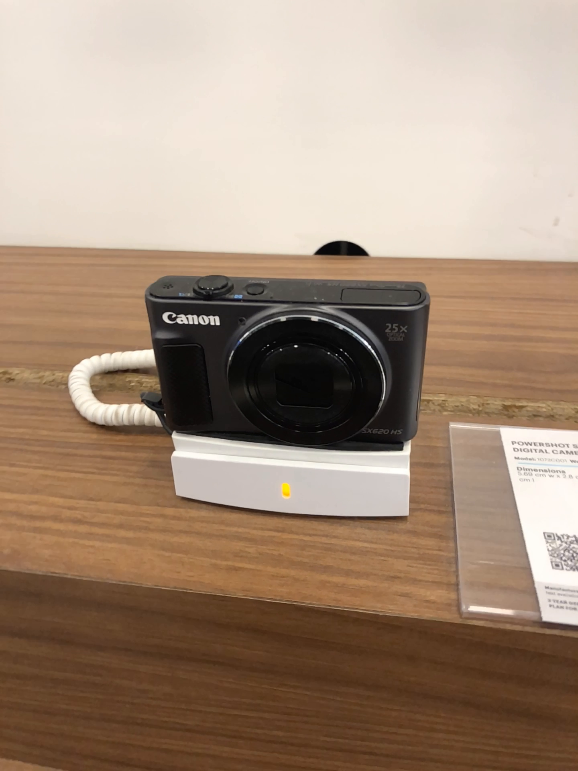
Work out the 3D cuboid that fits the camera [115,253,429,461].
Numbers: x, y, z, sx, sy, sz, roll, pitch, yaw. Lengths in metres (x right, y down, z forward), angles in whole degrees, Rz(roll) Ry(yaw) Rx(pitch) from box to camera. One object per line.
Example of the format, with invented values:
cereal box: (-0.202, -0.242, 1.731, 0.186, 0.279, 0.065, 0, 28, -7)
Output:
camera: (-0.004, -0.011, 0.230, 0.100, 0.060, 0.030, 4, 32, 10)
